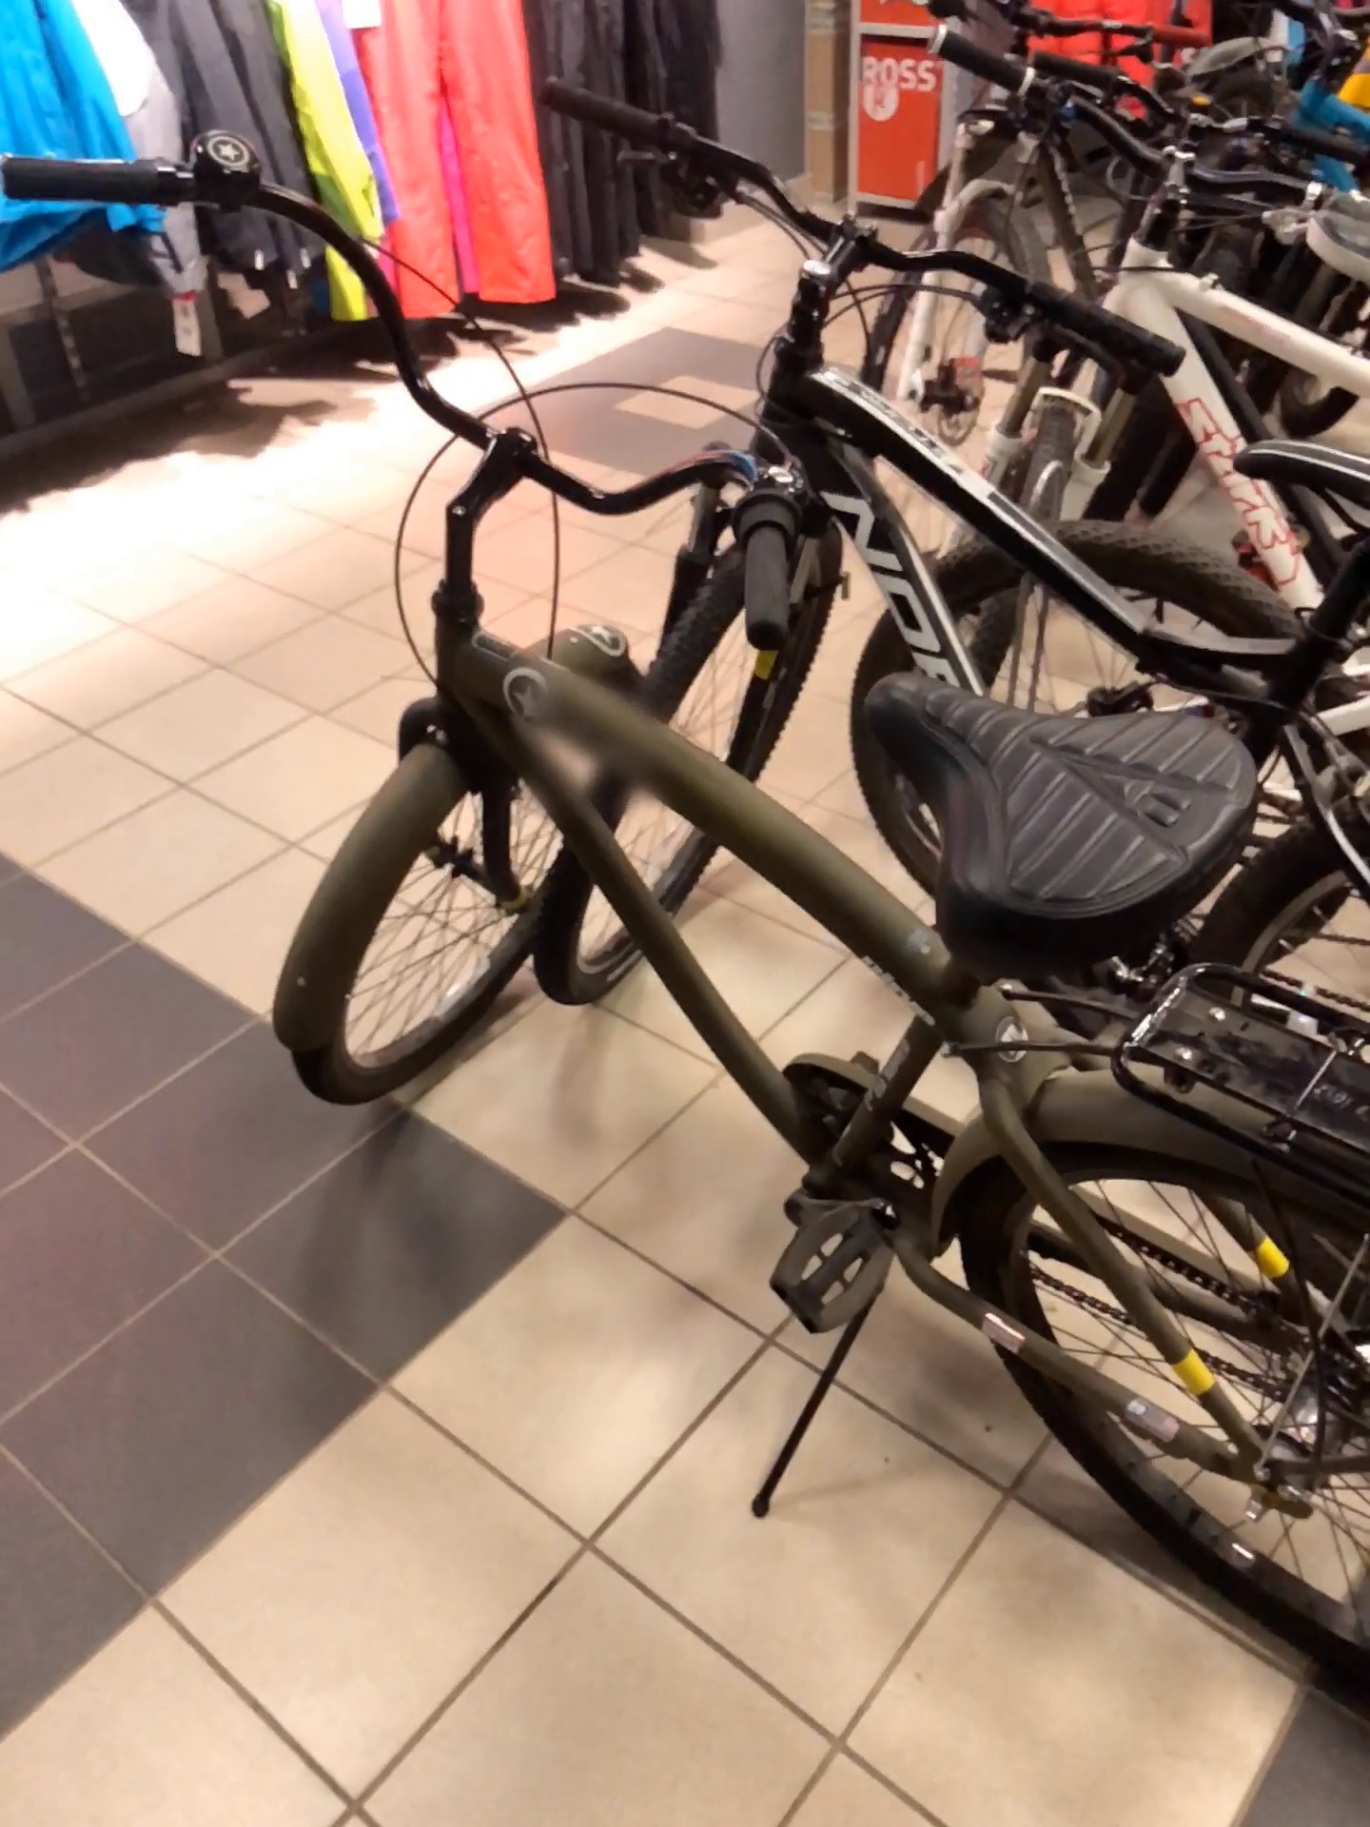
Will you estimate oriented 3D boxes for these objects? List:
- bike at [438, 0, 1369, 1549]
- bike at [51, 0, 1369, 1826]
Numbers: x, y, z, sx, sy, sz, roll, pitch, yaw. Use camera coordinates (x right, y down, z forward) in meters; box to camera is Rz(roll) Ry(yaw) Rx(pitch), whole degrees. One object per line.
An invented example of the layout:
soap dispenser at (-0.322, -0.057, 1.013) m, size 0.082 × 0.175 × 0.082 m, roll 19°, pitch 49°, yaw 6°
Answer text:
bike at (0.338, -0.339, 1.584) m, size 0.665 × 1.227 × 0.977 m, roll -27°, pitch 51°, yaw -28°
bike at (0.238, -0.067, 1.253) m, size 0.833 × 1.130 × 1.502 m, roll -24°, pitch 46°, yaw -25°
